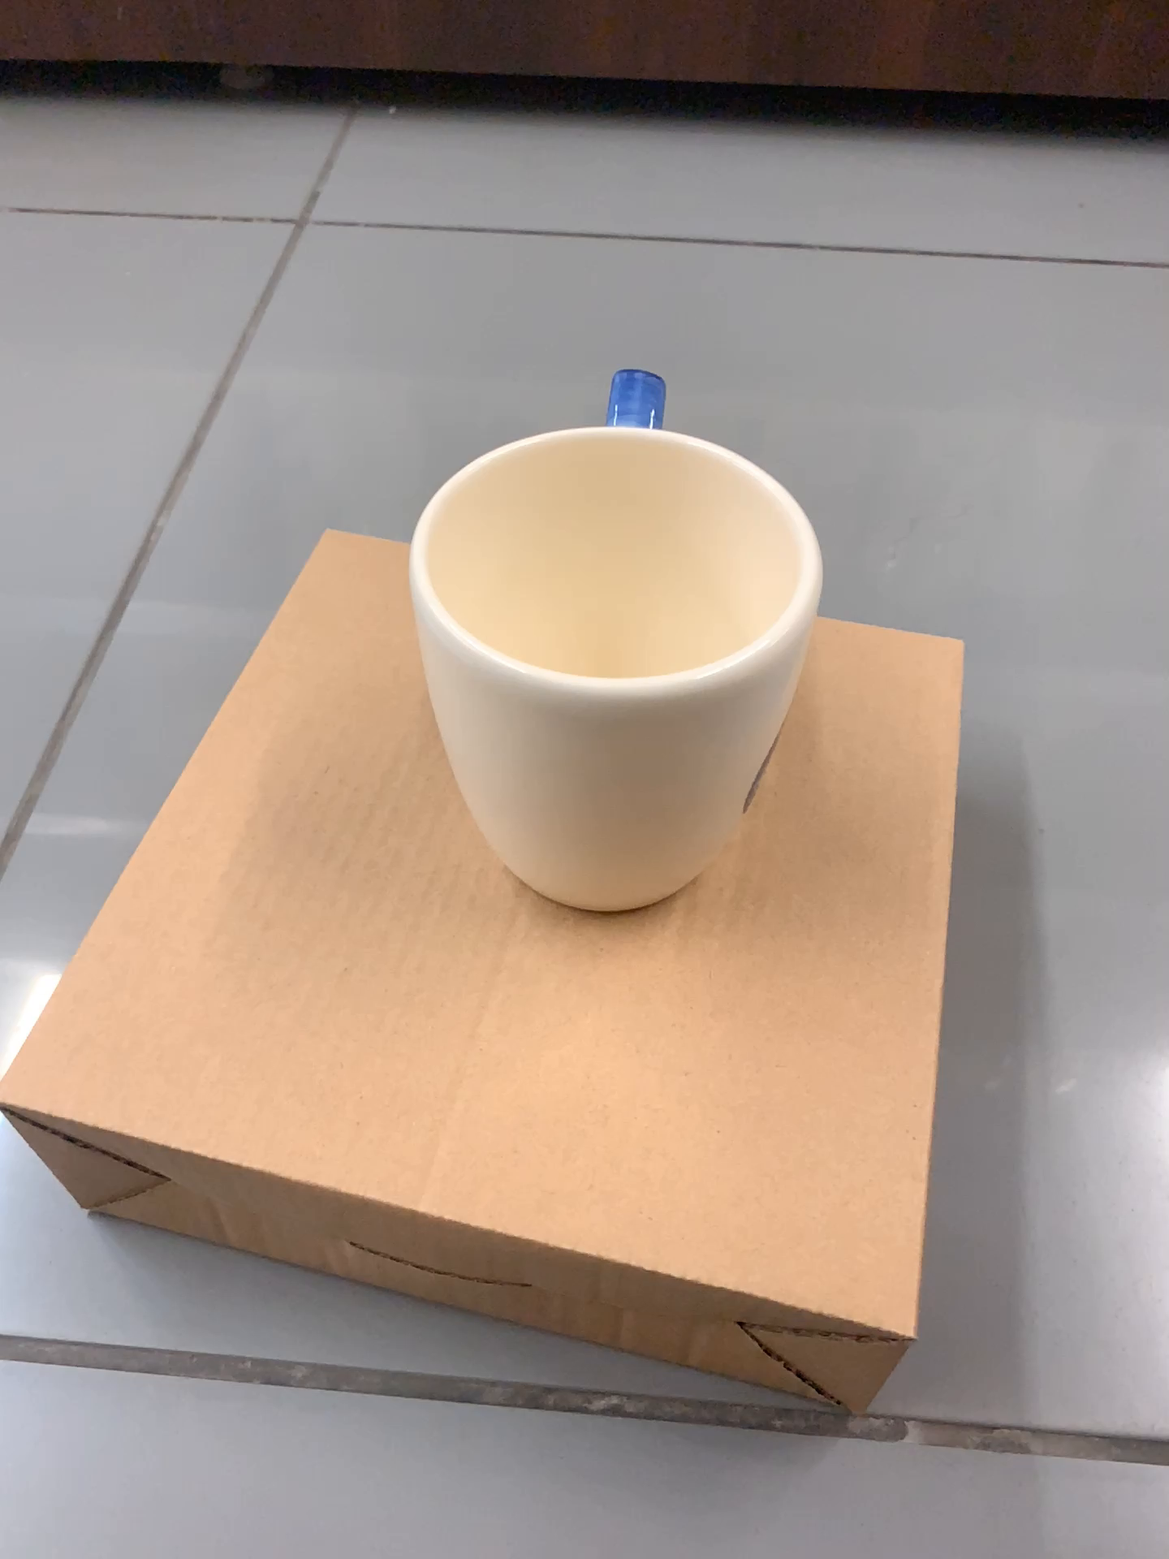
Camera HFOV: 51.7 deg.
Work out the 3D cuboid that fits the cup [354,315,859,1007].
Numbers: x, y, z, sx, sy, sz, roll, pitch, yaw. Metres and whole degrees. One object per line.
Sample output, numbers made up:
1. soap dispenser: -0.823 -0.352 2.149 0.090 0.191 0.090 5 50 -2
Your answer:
1. cup: 0.009 -0.032 0.294 0.090 0.090 0.140 4 51 3
